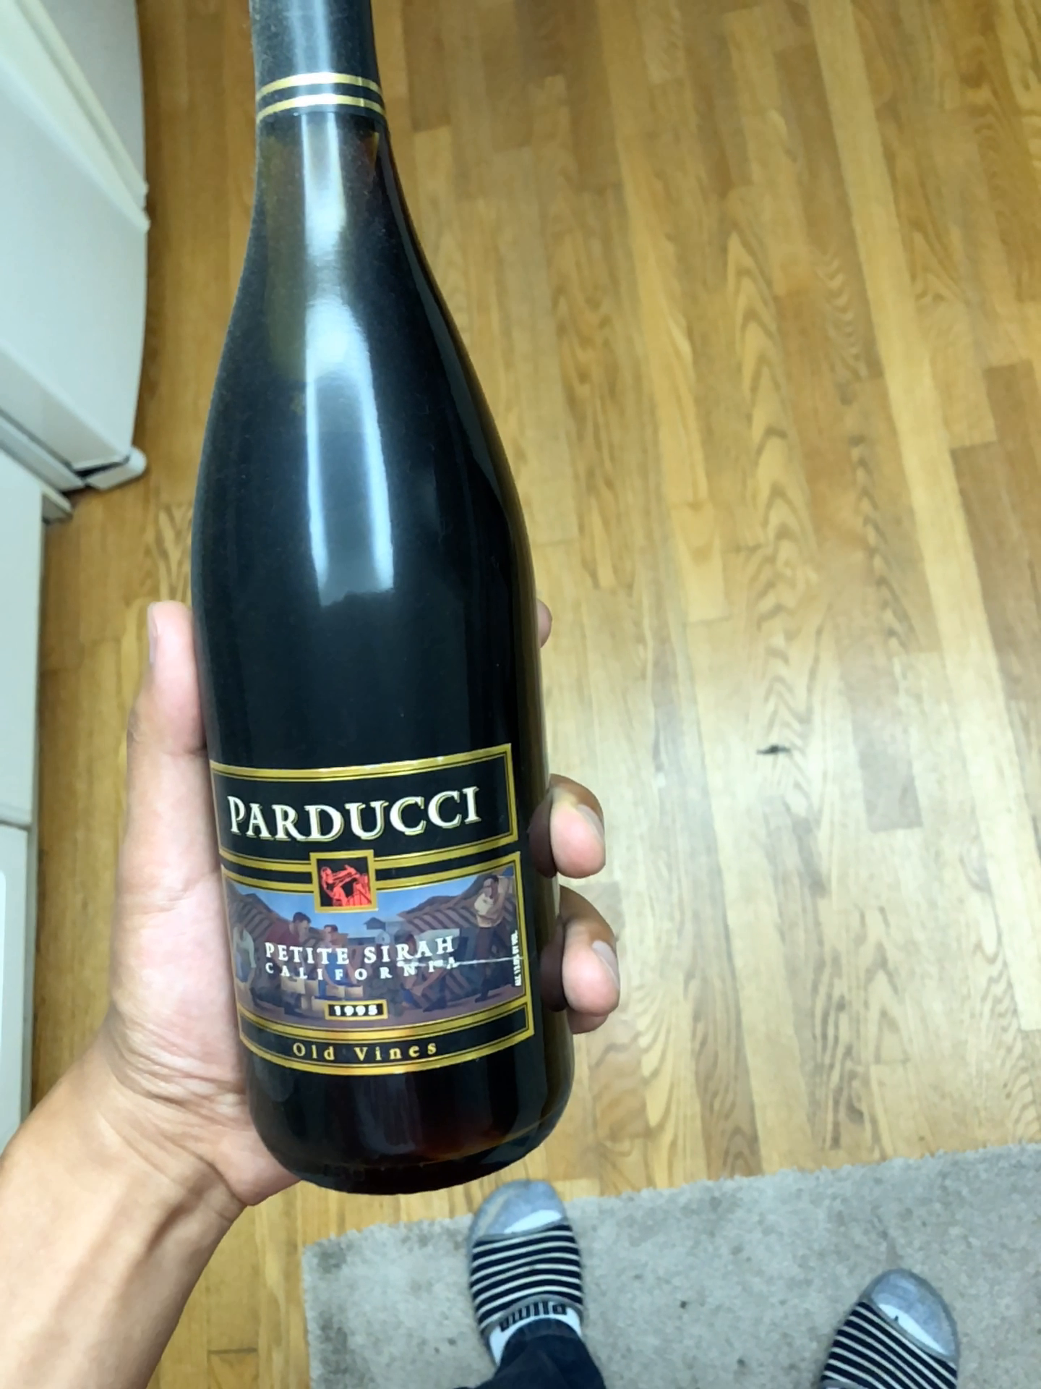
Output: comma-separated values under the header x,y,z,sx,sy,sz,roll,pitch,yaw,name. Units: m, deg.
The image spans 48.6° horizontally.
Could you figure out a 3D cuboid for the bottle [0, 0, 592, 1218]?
x,y,z,sx,sy,sz,roll,pitch,yaw,name
-0.042,-0.030,0.260,0.090,0.070,0.280,-4,101,8,bottle
